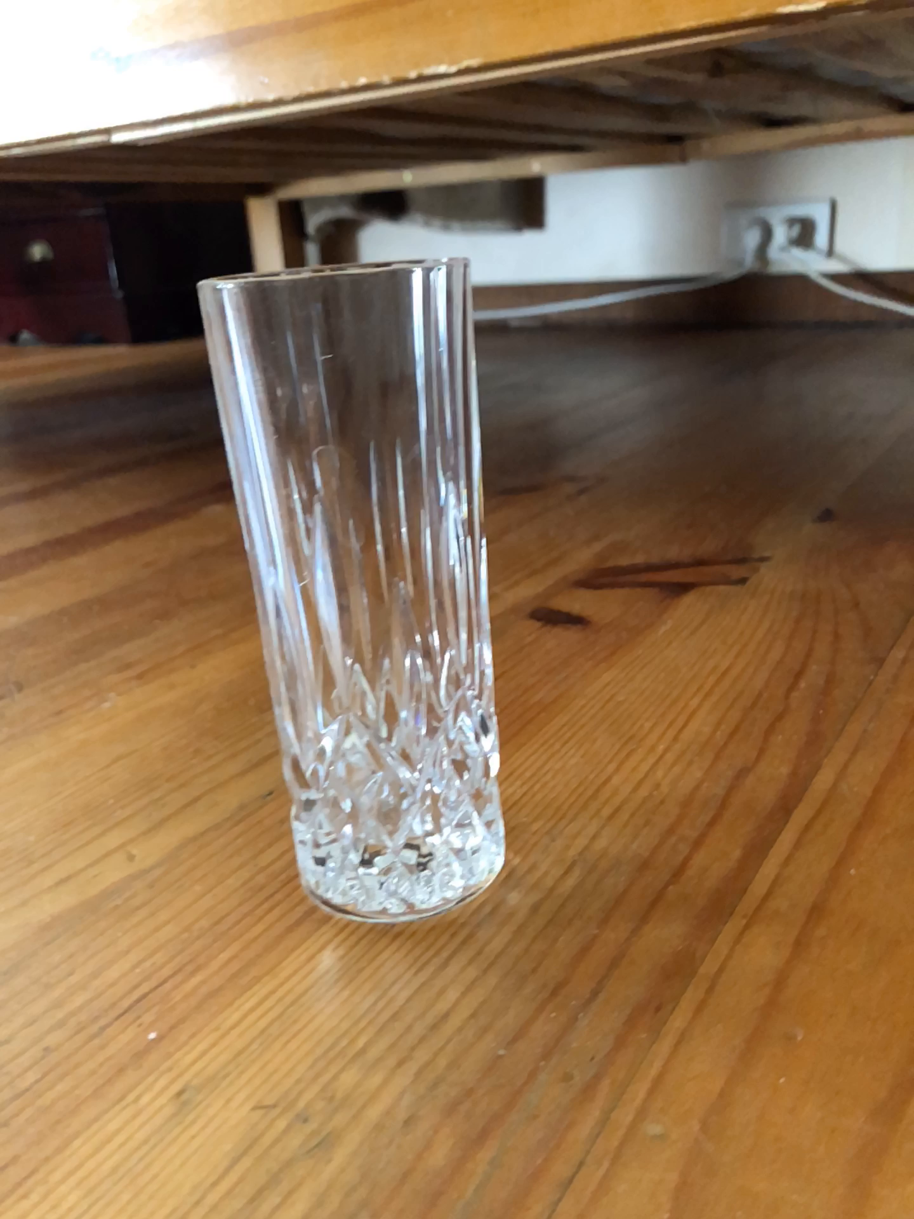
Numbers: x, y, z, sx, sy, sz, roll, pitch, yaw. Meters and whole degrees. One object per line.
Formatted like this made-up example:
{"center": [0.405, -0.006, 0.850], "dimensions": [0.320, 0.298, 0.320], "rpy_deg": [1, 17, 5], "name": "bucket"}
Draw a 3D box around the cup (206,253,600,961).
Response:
{"center": [-0.011, -0.005, 0.238], "dimensions": [0.064, 0.144, 0.059], "rpy_deg": [-4, 20, 1], "name": "cup"}
